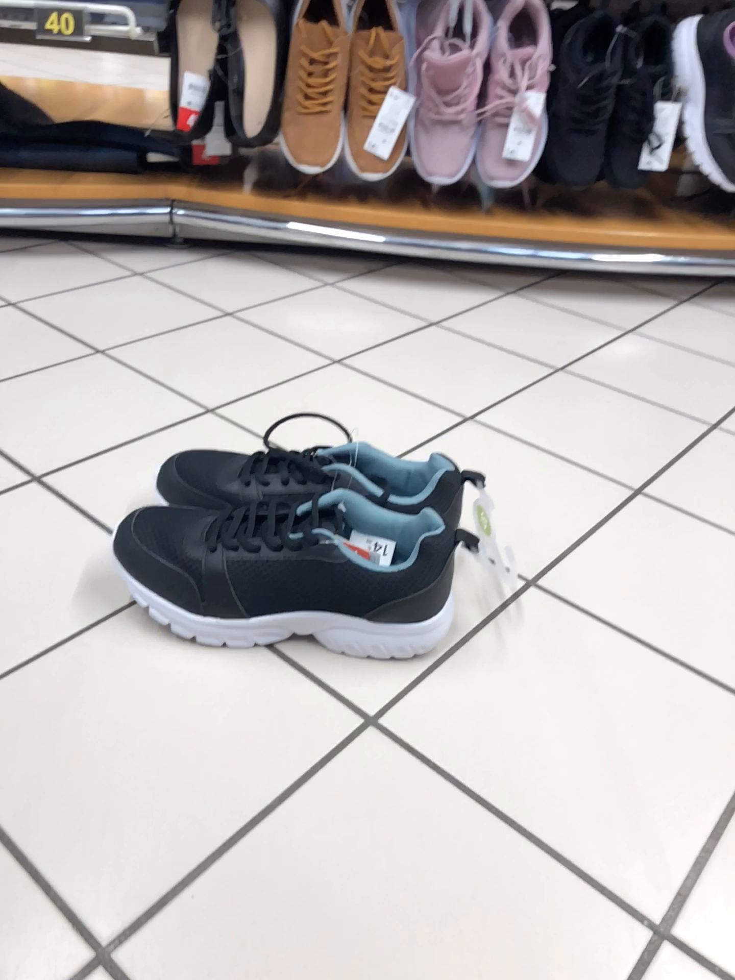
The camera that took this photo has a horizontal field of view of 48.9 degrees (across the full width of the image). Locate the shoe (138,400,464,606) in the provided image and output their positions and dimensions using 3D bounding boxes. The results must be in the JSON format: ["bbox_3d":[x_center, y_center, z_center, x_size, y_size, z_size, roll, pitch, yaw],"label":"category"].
[{"bbox_3d":[-0.049,0.007,0.659,0.240,0.099,0.101,8,28,4],"label":"shoe"}]

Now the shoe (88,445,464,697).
[{"bbox_3d":[-0.059,0.055,0.585,0.240,0.109,0.101,8,32,4],"label":"shoe"}]
